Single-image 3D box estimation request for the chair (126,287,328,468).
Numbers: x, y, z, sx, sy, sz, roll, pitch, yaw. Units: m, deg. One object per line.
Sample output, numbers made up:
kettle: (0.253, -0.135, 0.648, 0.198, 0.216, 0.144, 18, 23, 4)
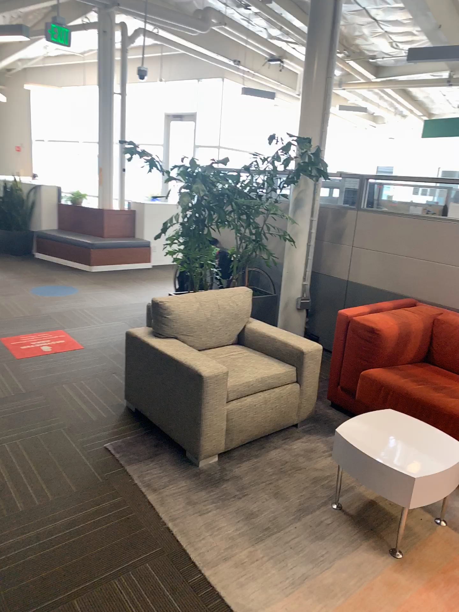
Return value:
chair: (-0.044, 0.364, 3.036, 0.920, 0.727, 0.873, -8, 19, -39)
